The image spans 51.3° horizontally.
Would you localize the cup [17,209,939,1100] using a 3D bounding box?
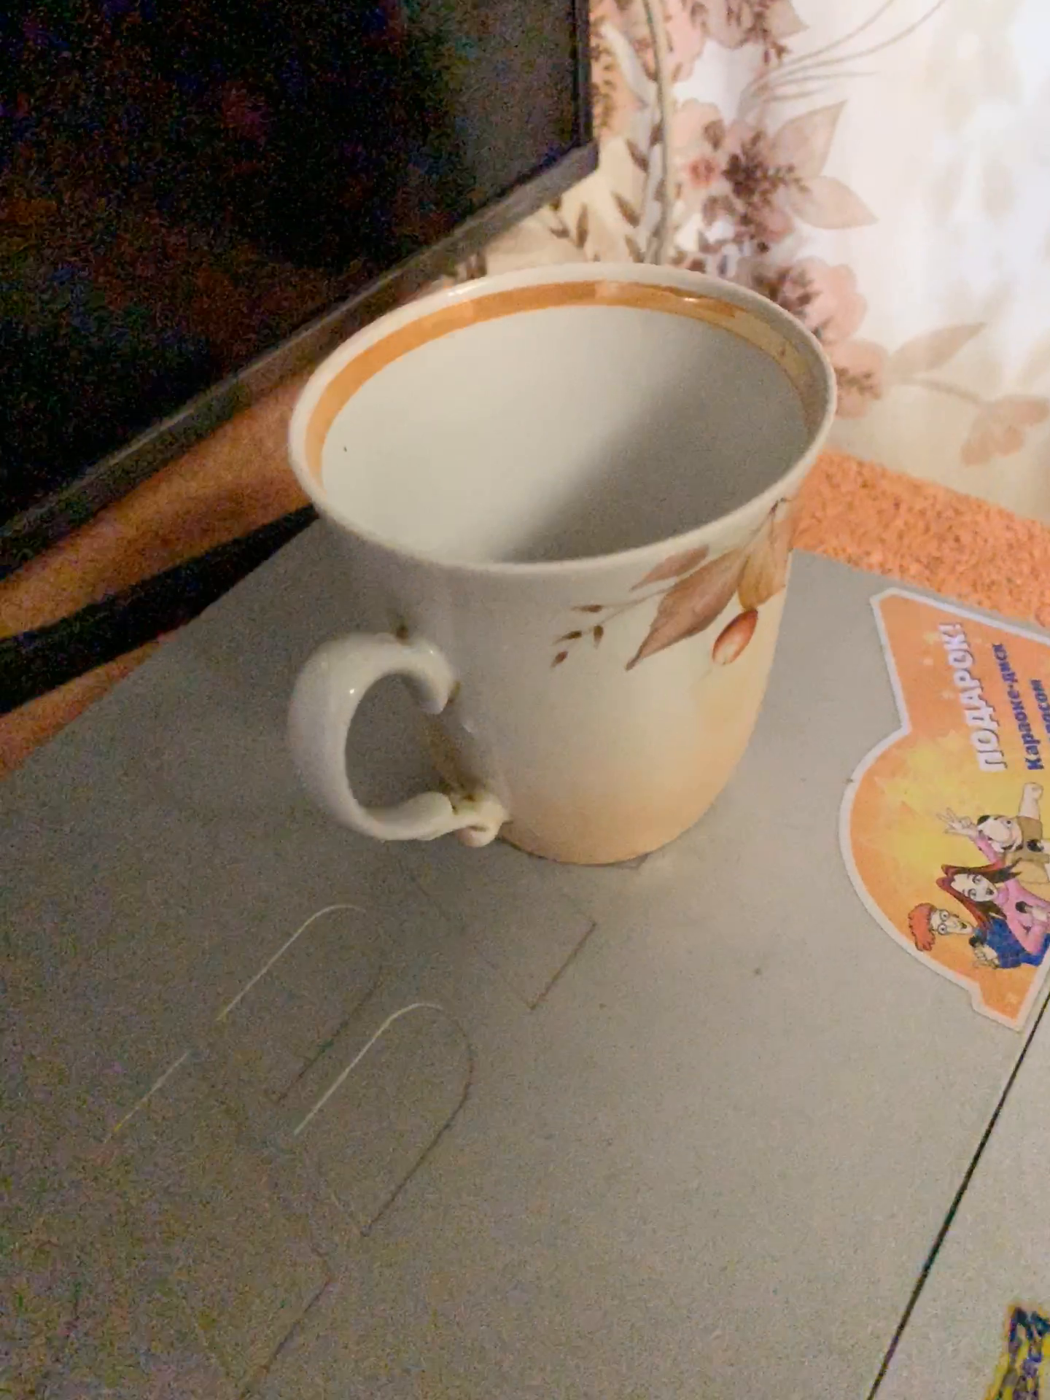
[{"bbox_3d":[0.000,-0.018,0.205,0.100,0.091,0.113,22,52,27],"label":"cup"}]
